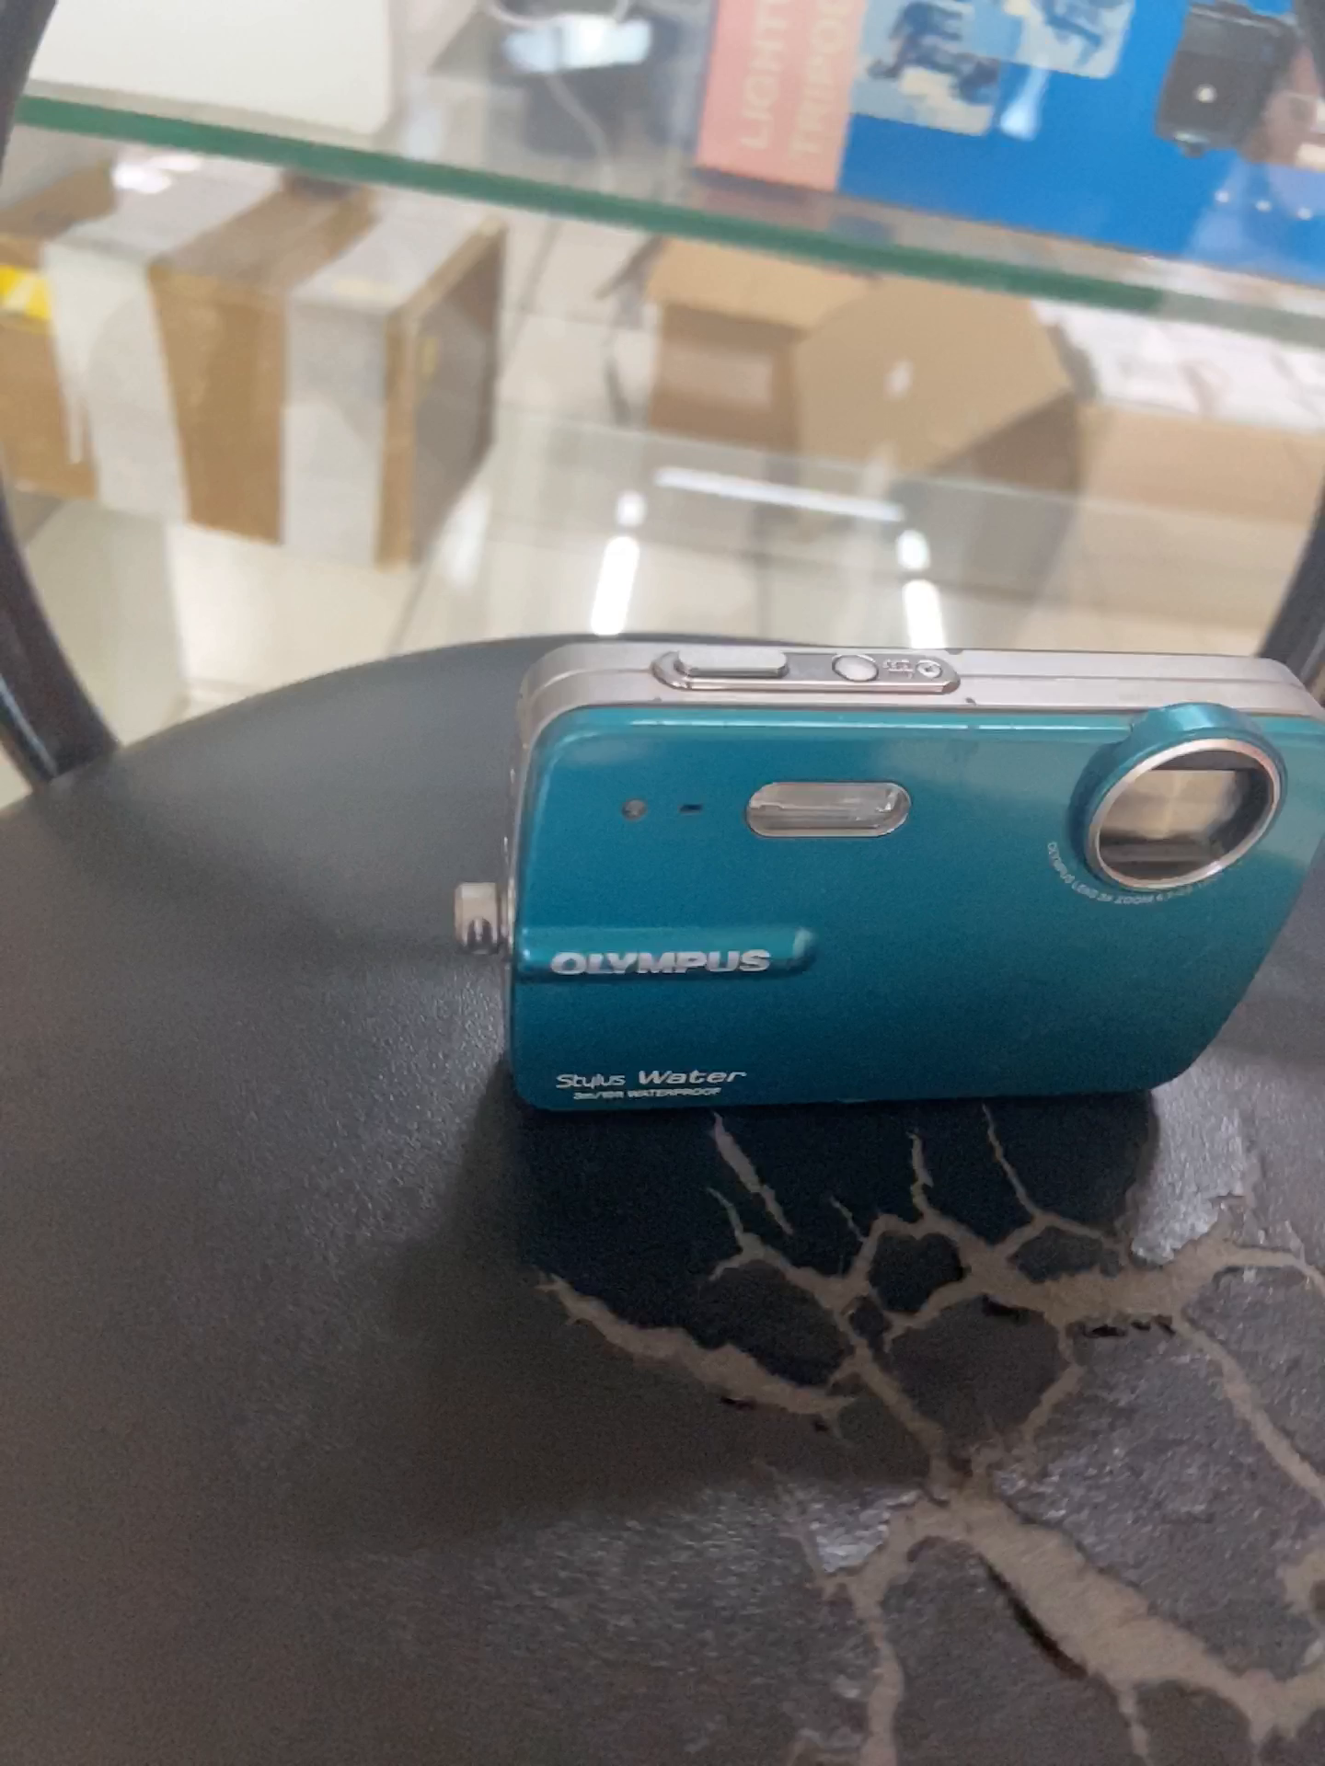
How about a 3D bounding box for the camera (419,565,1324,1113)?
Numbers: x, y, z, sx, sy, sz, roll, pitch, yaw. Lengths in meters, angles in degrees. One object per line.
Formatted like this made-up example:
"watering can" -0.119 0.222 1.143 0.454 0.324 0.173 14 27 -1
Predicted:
"camera" 0.024 -0.003 0.156 0.100 0.050 0.030 0 40 -11
